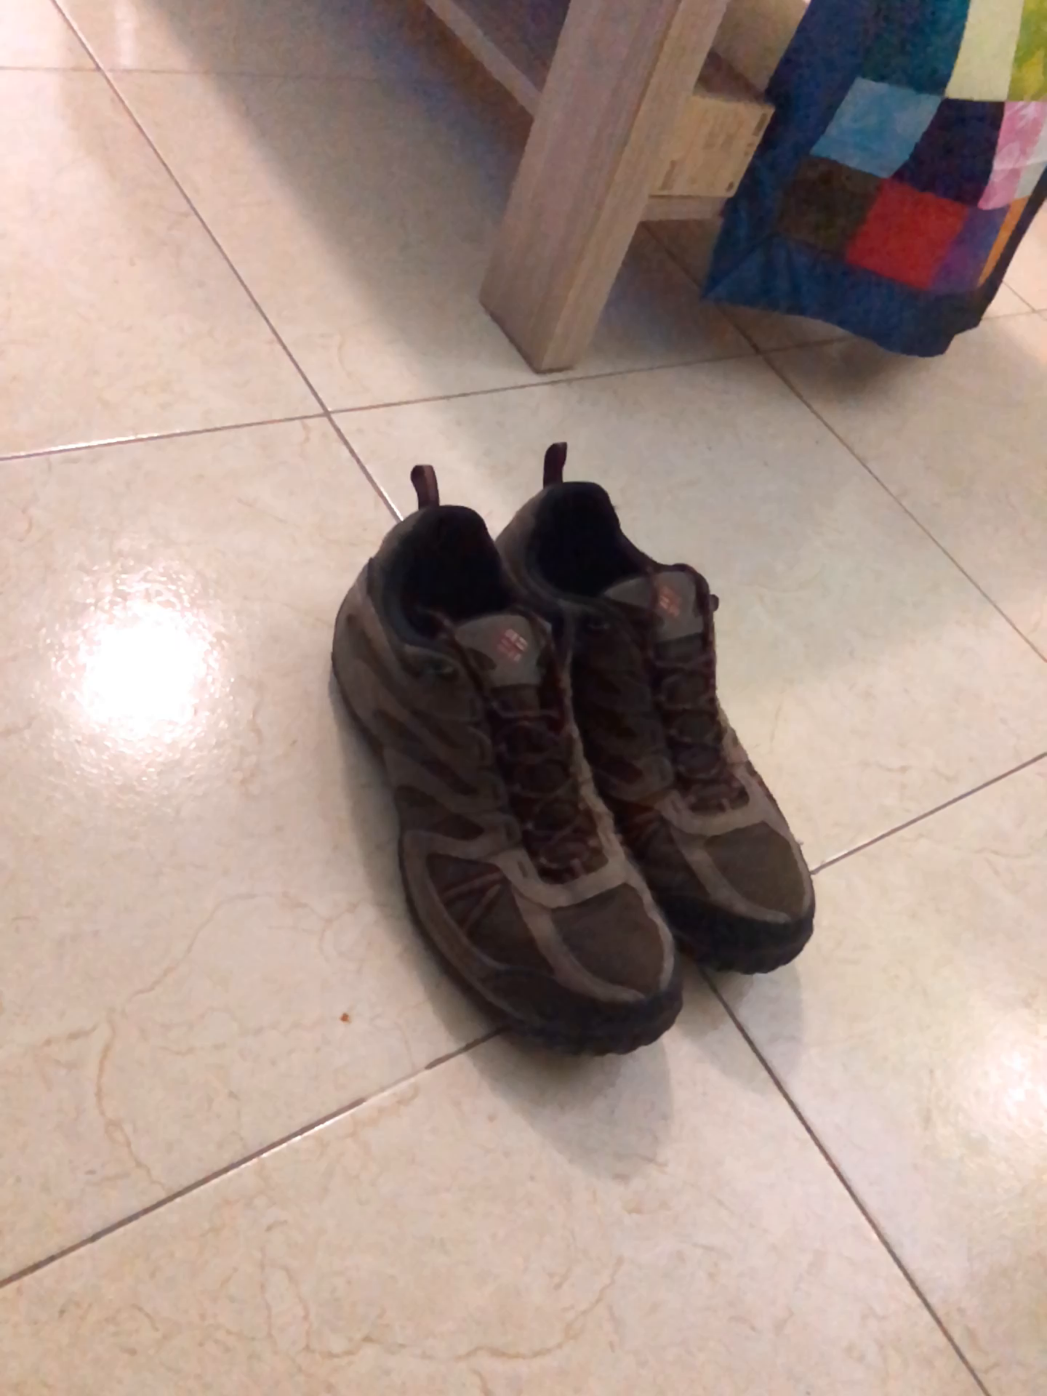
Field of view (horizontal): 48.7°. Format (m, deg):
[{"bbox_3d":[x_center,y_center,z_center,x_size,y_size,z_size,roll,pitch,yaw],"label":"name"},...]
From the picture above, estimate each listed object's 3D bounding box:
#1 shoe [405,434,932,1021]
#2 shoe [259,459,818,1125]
[{"bbox_3d":[0.066,0.003,0.668,0.120,0.120,0.310,-15,60,-31],"label":"shoe"},{"bbox_3d":[-0.010,0.031,0.595,0.130,0.110,0.310,-14,59,-31],"label":"shoe"}]
